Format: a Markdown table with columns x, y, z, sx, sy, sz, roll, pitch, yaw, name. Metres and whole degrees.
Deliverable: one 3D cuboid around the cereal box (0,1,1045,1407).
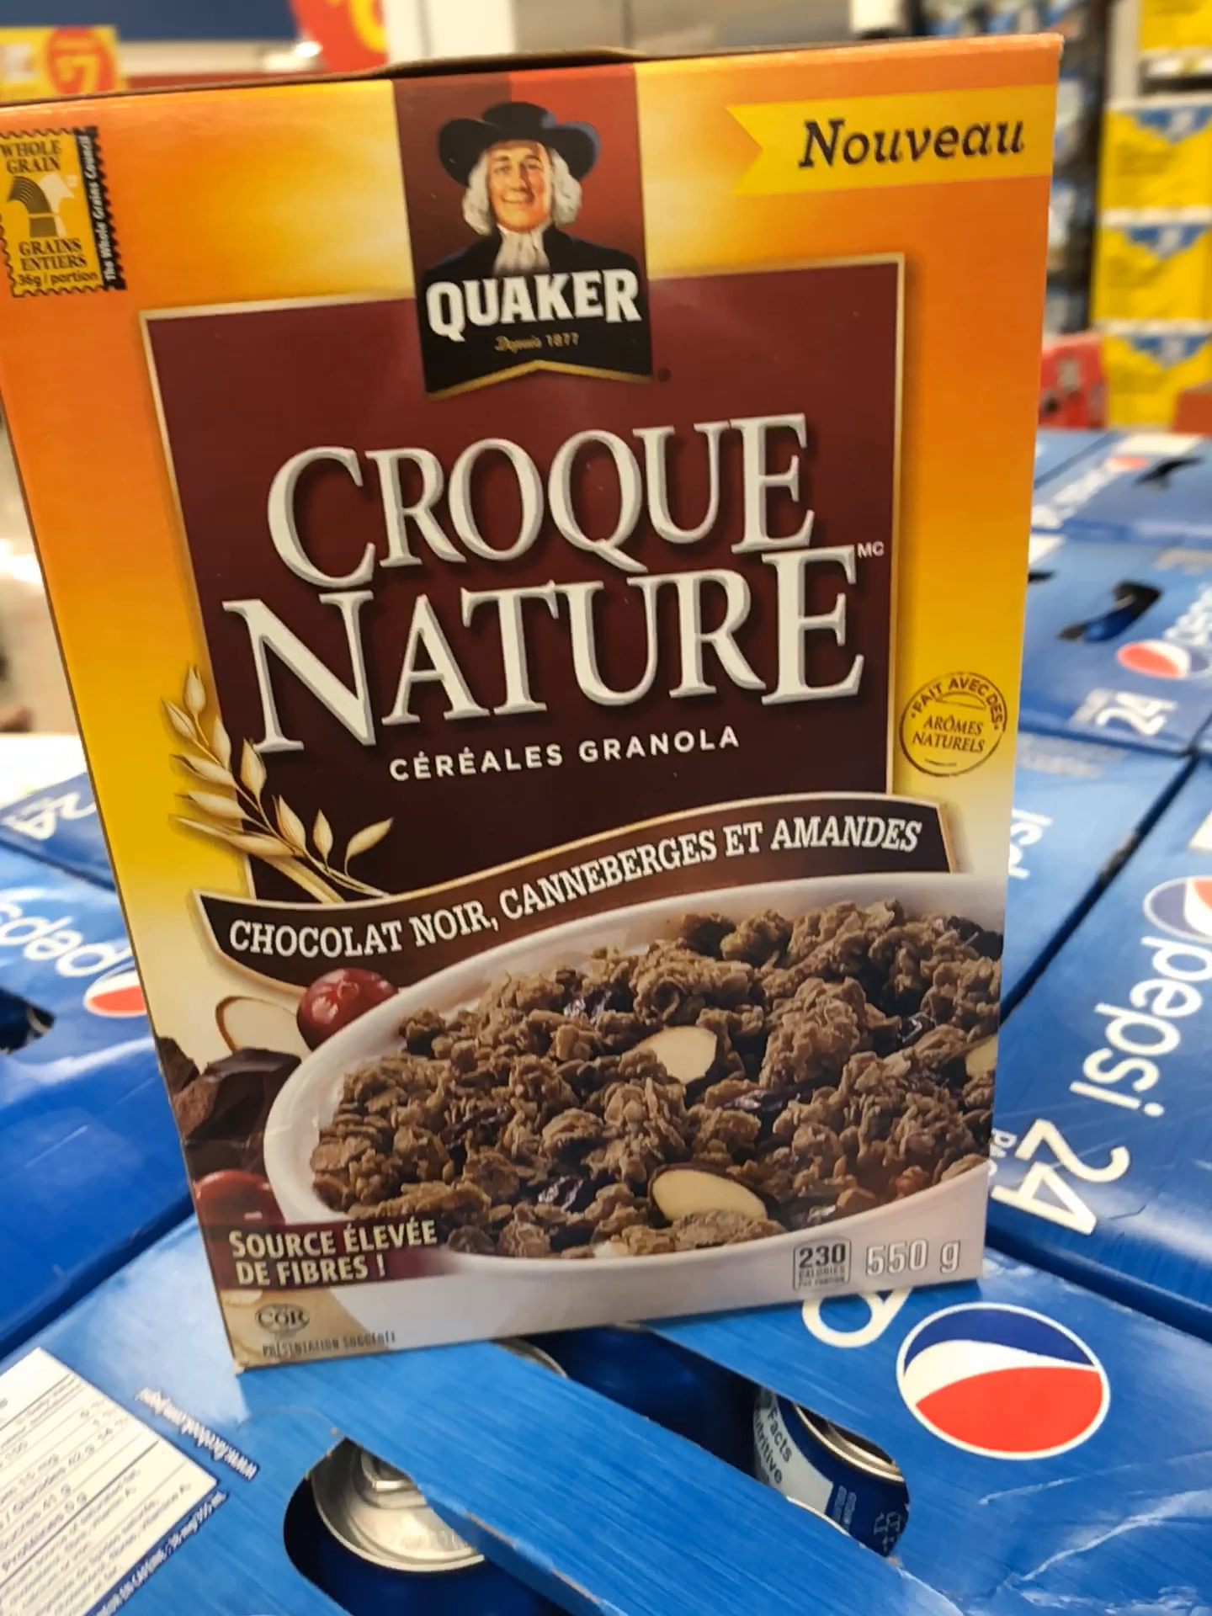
| x | y | z | sx | sy | sz | roll | pitch | yaw | name |
| --- | --- | --- | --- | --- | --- | --- | --- | --- | --- |
| -0.015 | -0.006 | 0.250 | 0.160 | 0.229 | 0.060 | -6 | 26 | -2 | cereal box |
